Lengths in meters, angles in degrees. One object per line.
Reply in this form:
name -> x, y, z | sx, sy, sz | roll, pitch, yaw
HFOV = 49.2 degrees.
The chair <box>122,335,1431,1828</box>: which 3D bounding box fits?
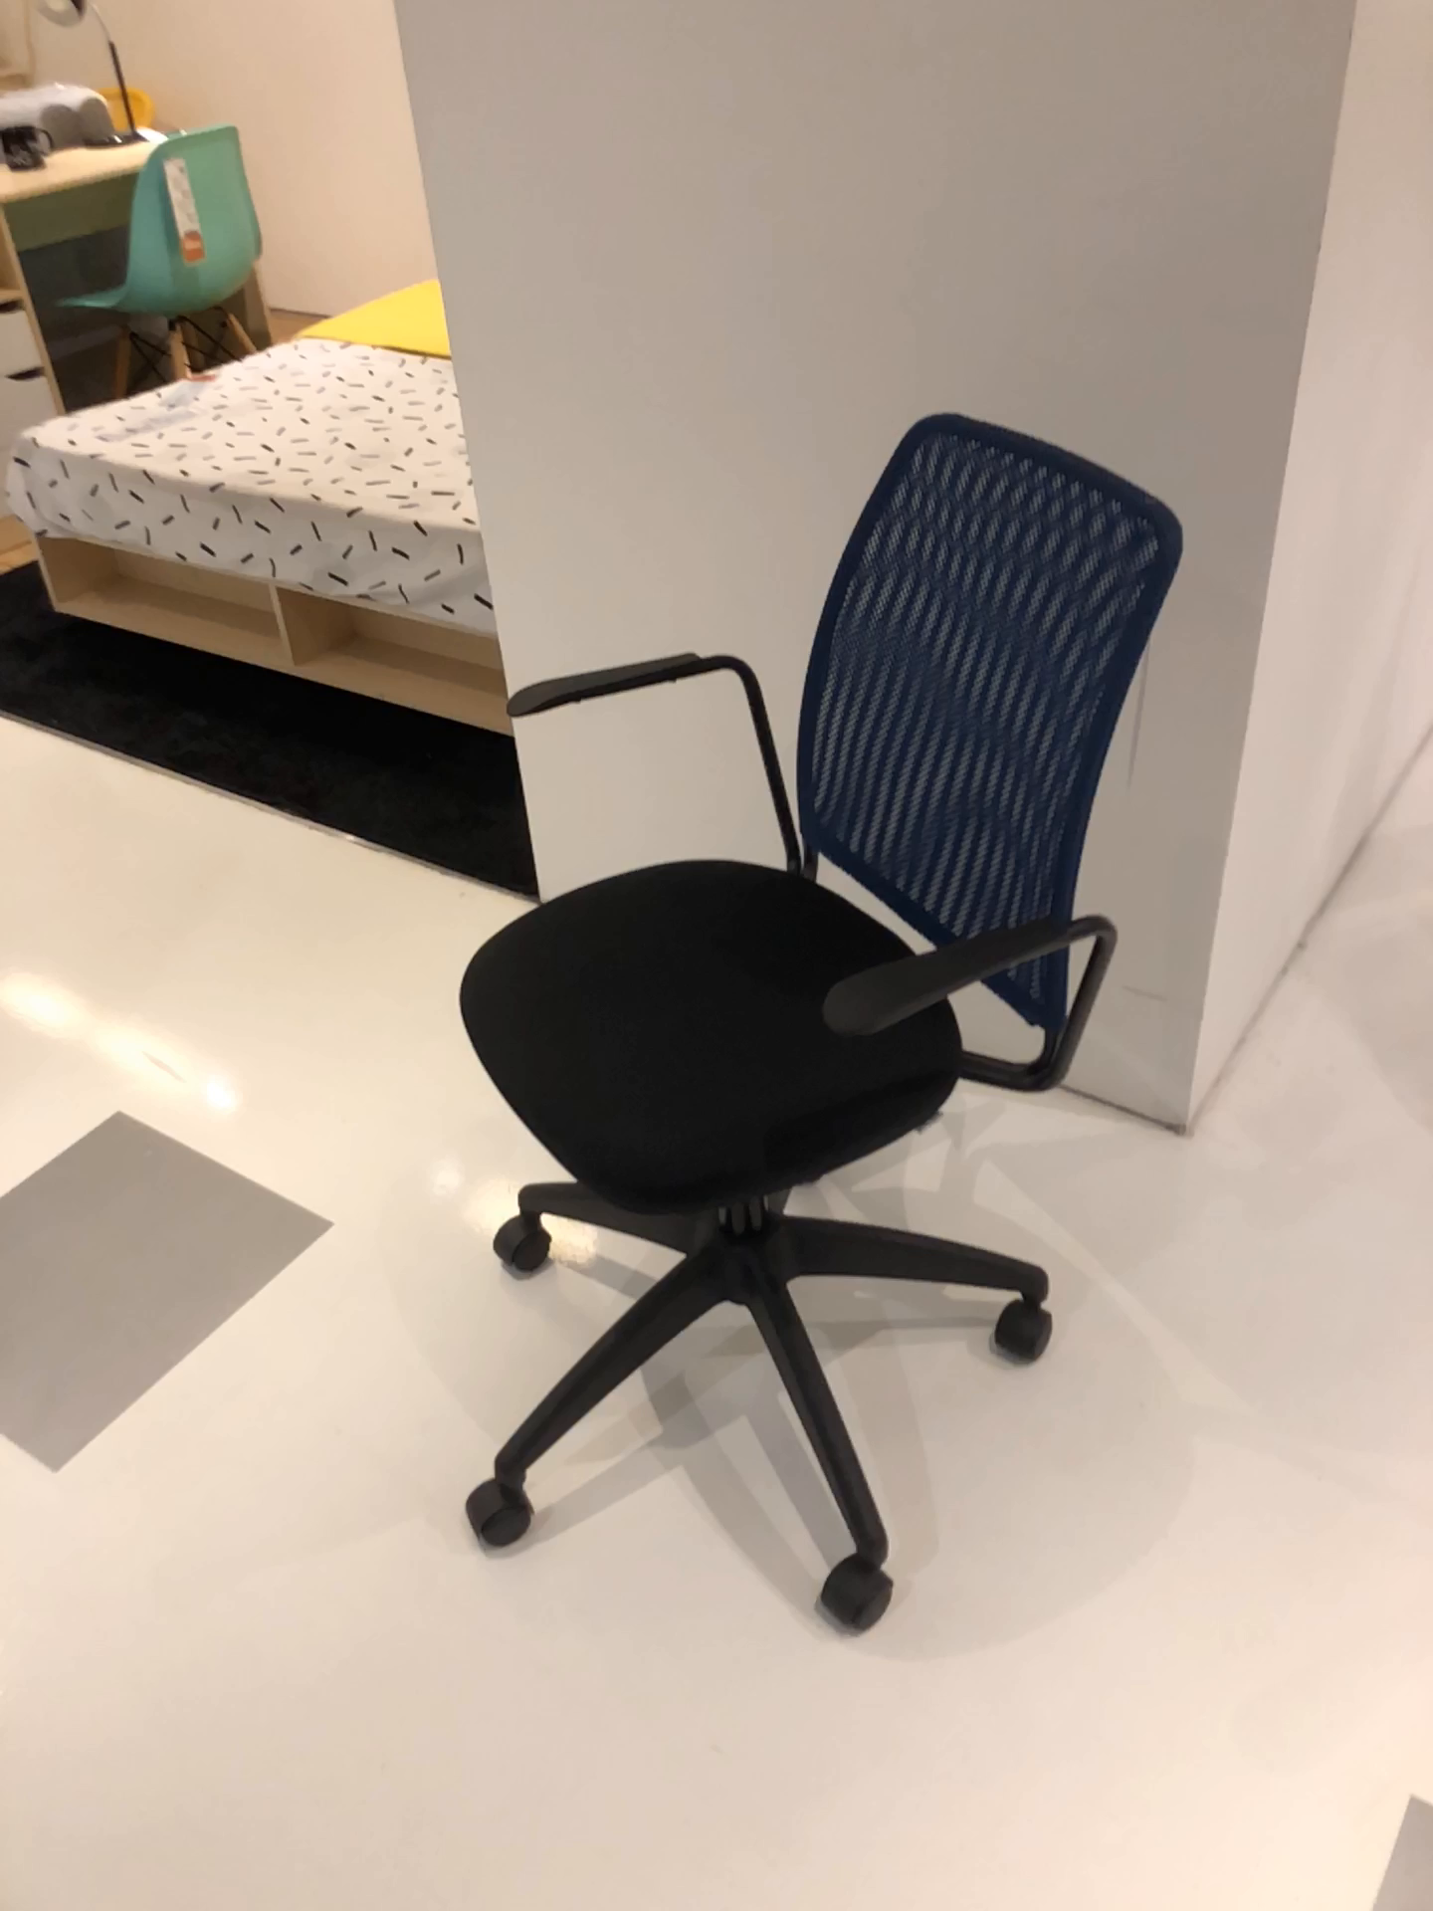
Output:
chair -> 0.019, 0.066, 1.380 | 0.701, 0.923, 0.664 | -19, 38, -19
